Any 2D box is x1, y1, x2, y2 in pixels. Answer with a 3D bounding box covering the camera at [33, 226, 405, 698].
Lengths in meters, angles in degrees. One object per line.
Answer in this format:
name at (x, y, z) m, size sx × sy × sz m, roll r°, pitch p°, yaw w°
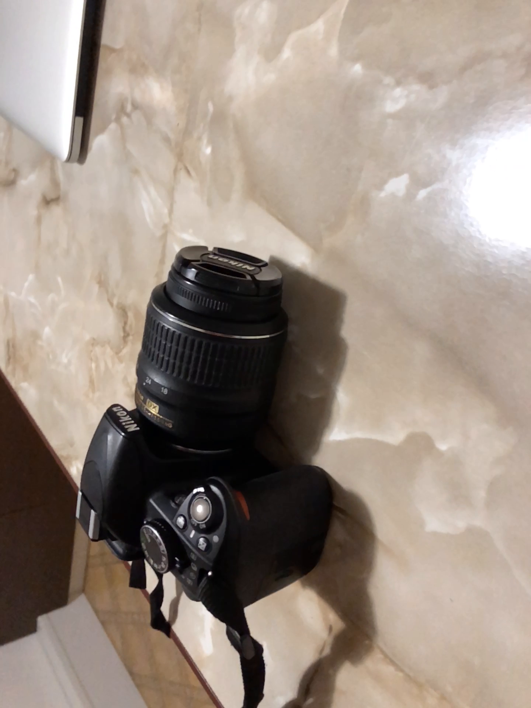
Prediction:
camera at (-0.036, 0.036, 0.282) m, size 0.126 × 0.099 × 0.160 m, roll 35°, pitch 121°, yaw 42°
